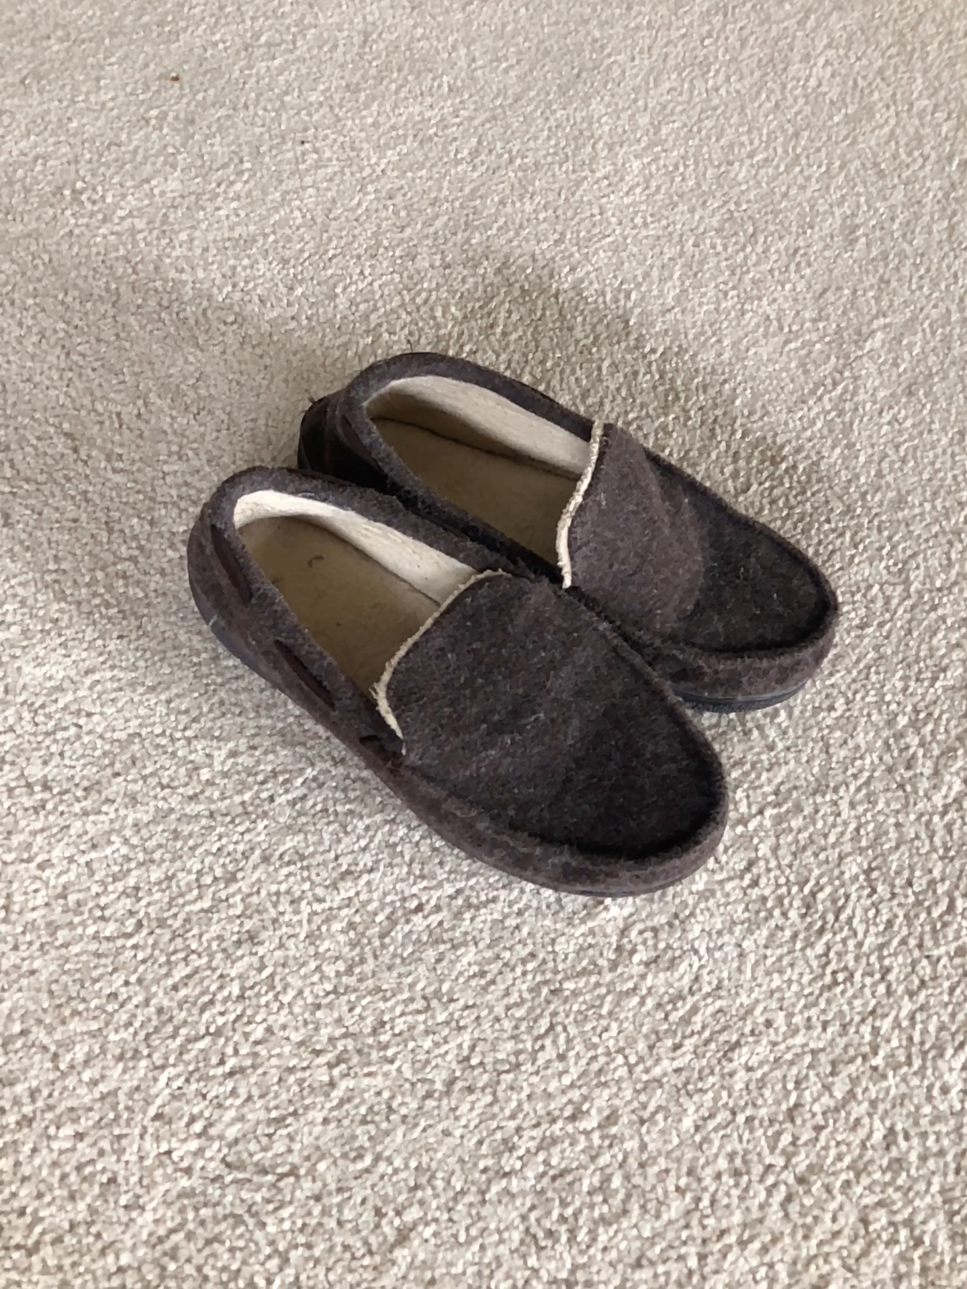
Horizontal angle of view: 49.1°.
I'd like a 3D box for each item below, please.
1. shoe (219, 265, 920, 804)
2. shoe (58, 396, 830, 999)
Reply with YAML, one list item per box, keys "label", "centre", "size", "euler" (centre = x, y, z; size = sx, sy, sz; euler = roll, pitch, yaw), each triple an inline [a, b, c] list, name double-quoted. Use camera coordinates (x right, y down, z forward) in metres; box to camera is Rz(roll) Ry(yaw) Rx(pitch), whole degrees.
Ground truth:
- label: "shoe"
  centre: [0.038, -0.056, 0.543]
  size: [0.316, 0.096, 0.119]
  euler: [27, 63, 6]
- label: "shoe"
  centre: [-0.020, 0.024, 0.499]
  size: [0.317, 0.096, 0.120]
  euler: [29, 64, 7]
